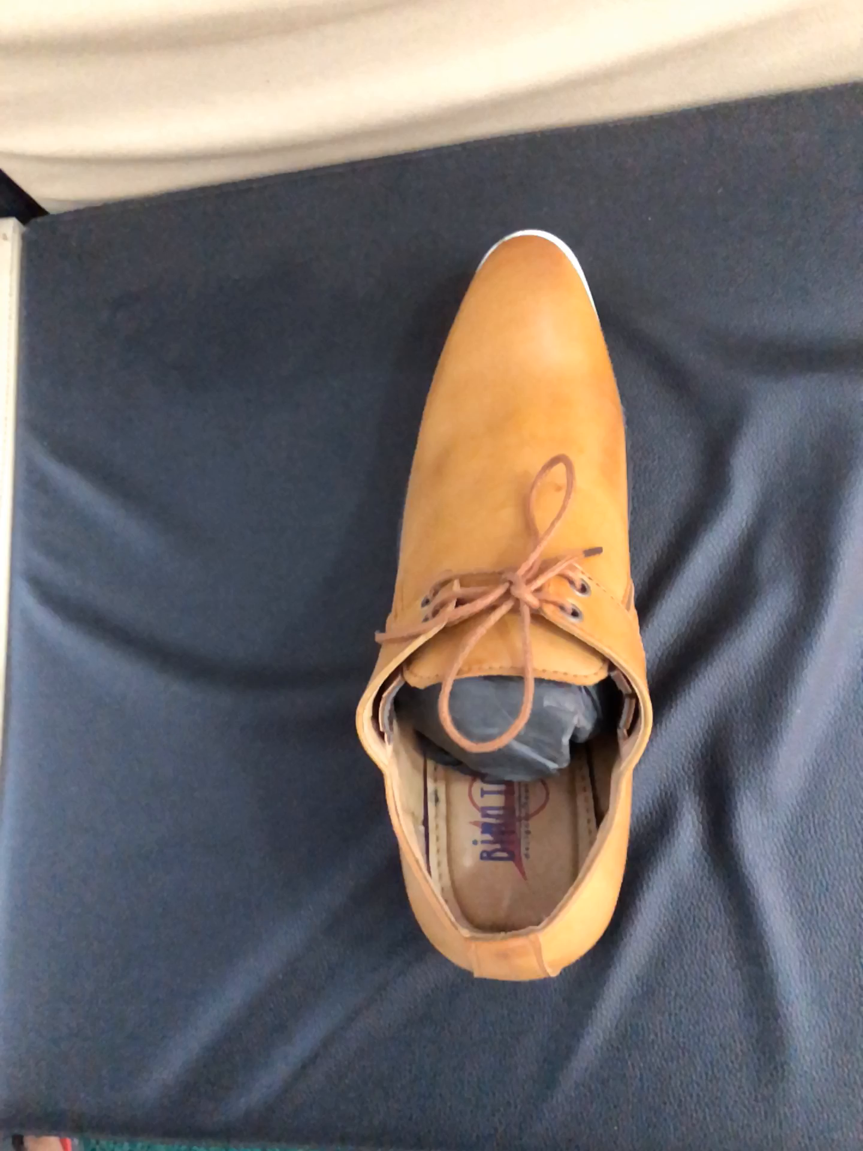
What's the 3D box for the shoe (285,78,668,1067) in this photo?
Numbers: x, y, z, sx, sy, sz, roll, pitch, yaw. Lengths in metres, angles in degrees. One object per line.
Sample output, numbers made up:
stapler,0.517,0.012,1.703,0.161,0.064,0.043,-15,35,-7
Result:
shoe,0.024,-0.005,0.345,0.110,0.100,0.300,-1,80,12
